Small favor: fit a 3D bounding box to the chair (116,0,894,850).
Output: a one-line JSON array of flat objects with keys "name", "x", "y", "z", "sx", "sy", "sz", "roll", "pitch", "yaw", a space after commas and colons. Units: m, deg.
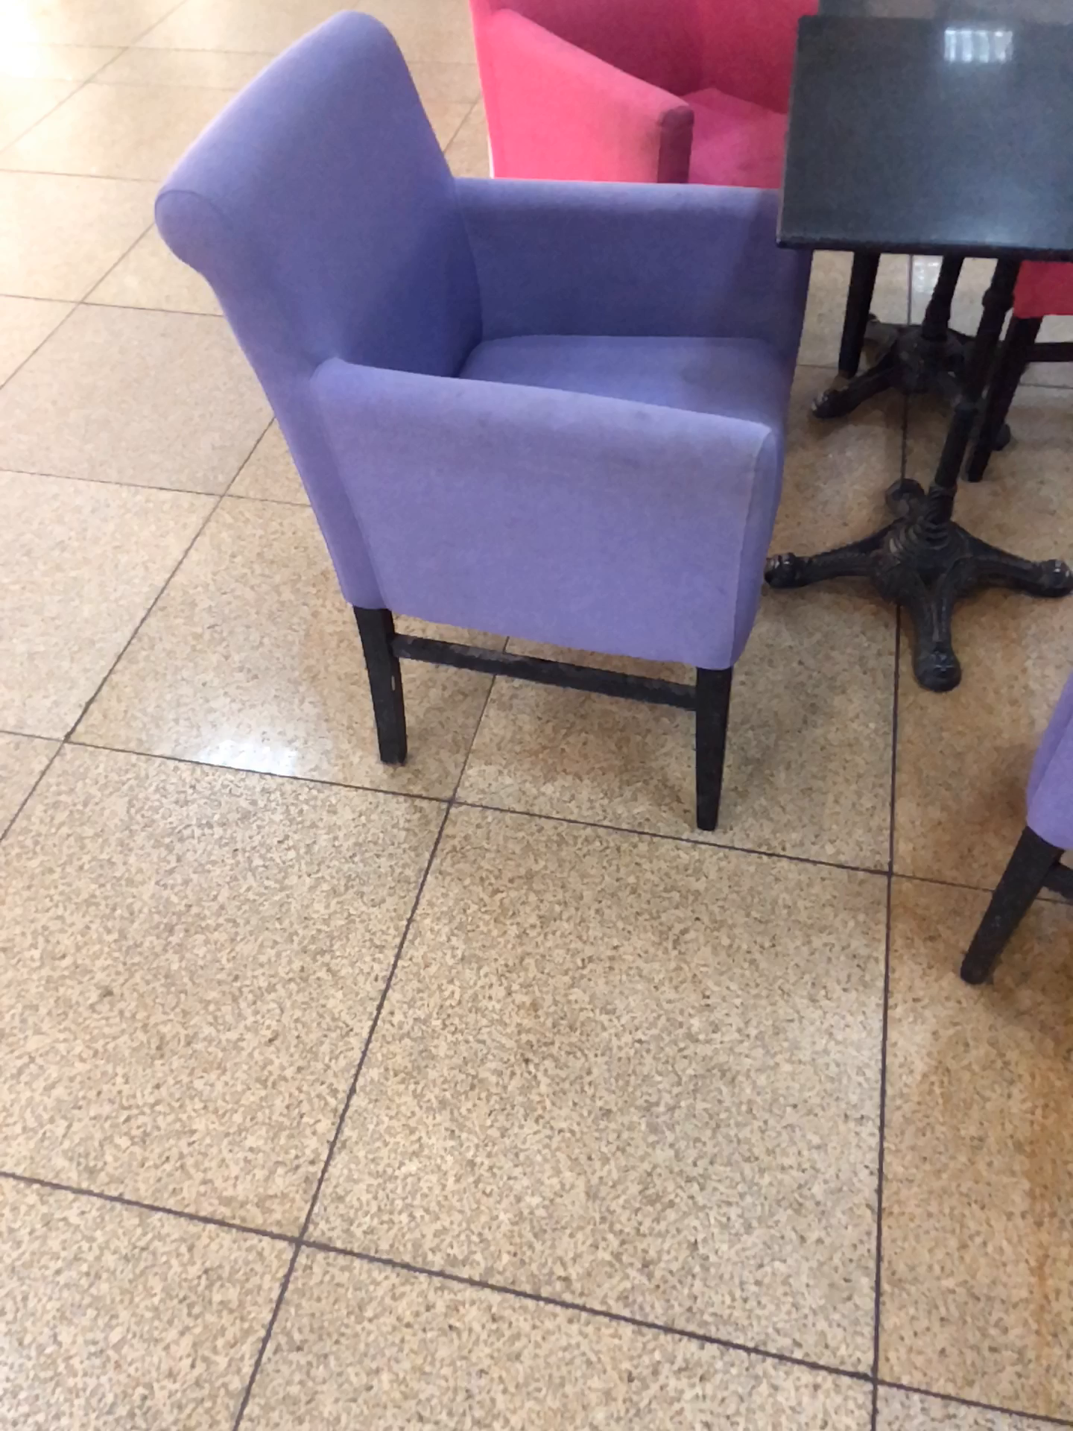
[{"name": "chair", "x": 0.020, "y": -0.360, "z": 1.498, "sx": 0.660, "sy": 0.817, "sz": 0.572, "roll": 10, "pitch": 49, "yaw": 12}]
